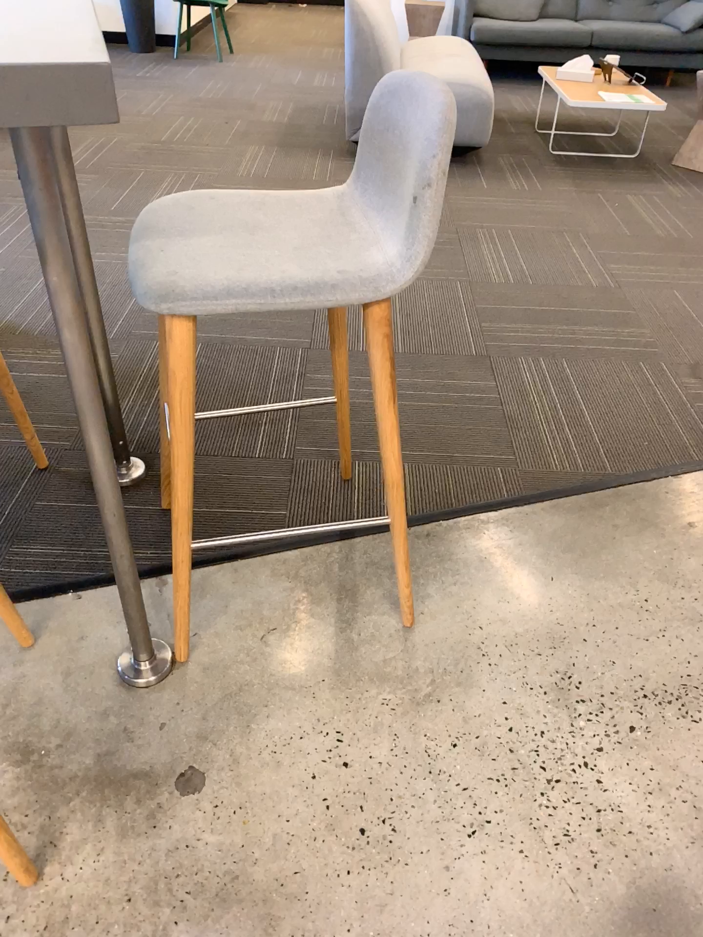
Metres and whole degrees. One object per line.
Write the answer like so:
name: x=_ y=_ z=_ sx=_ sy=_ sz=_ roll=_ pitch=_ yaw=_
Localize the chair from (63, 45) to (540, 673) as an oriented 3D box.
chair: x=-0.130 y=-0.200 z=1.322 sx=0.550 sy=0.924 sz=0.594 roll=-7 pitch=39 yaw=-13
